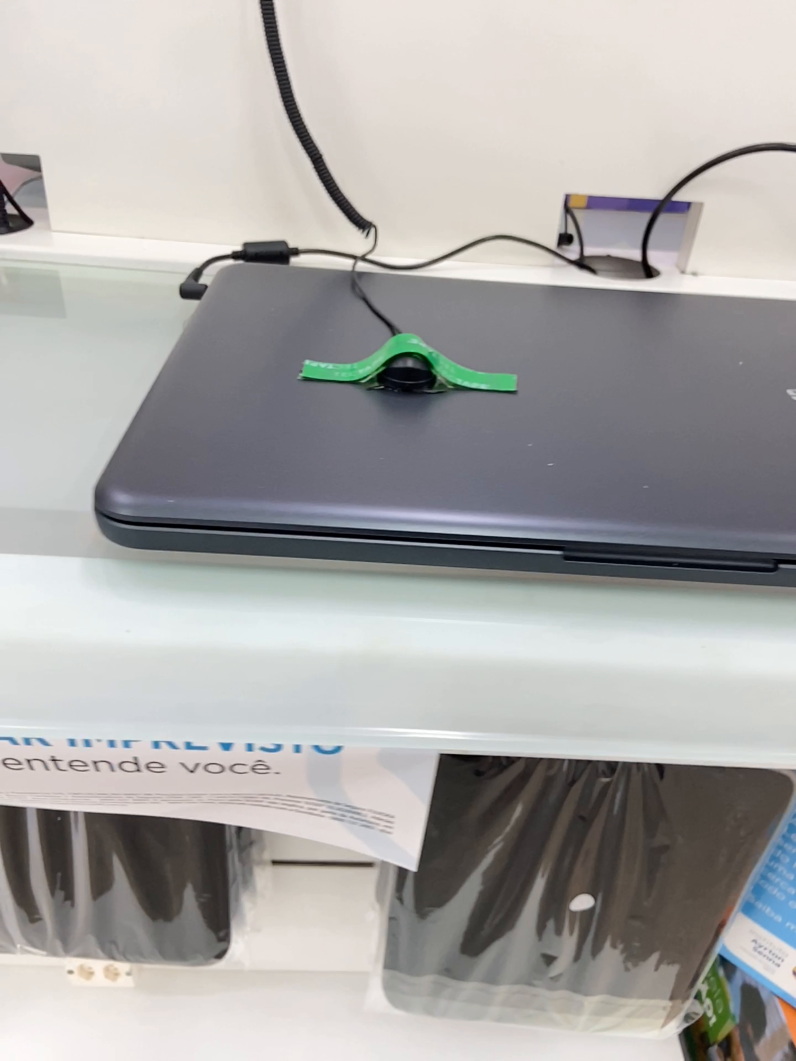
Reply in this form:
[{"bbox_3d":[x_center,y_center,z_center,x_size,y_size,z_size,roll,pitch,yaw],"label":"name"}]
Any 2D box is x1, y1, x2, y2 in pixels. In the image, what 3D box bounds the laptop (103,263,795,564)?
[{"bbox_3d":[0.084,-0.066,0.356,0.350,0.001,0.234,3,36,-3],"label":"laptop"}]
